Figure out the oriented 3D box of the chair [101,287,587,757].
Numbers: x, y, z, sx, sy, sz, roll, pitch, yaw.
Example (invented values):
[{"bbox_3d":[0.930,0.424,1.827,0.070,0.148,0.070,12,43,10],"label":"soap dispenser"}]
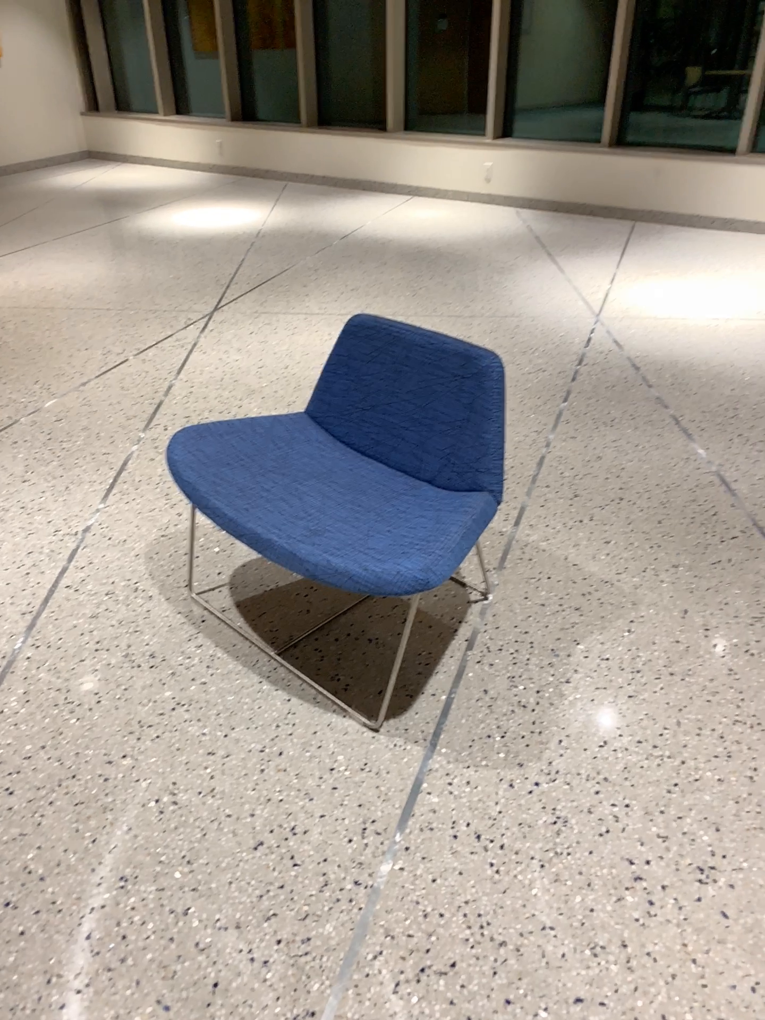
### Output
[{"bbox_3d":[-0.112,-0.064,1.984,0.945,0.698,0.664,26,40,37],"label":"chair"}]
